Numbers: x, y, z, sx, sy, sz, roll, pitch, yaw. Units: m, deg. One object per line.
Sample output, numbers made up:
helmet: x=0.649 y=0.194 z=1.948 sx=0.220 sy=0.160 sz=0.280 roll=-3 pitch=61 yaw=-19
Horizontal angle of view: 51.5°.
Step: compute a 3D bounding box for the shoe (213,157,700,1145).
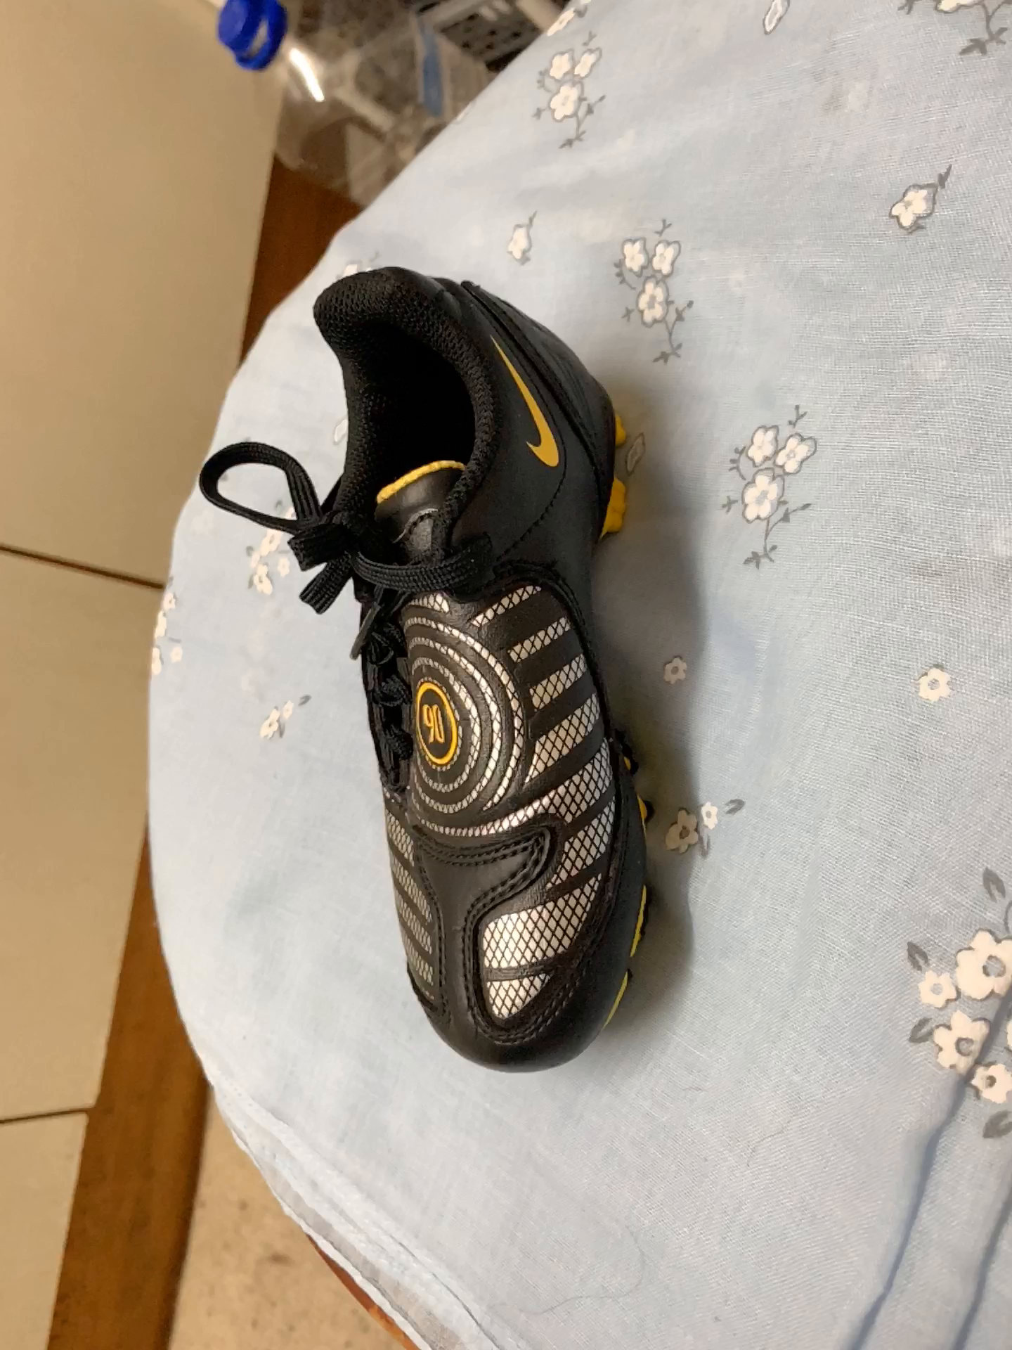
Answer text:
shoe: x=-0.008 y=-0.003 z=0.248 sx=0.080 sy=0.070 sz=0.190 roll=-8 pitch=74 yaw=41
